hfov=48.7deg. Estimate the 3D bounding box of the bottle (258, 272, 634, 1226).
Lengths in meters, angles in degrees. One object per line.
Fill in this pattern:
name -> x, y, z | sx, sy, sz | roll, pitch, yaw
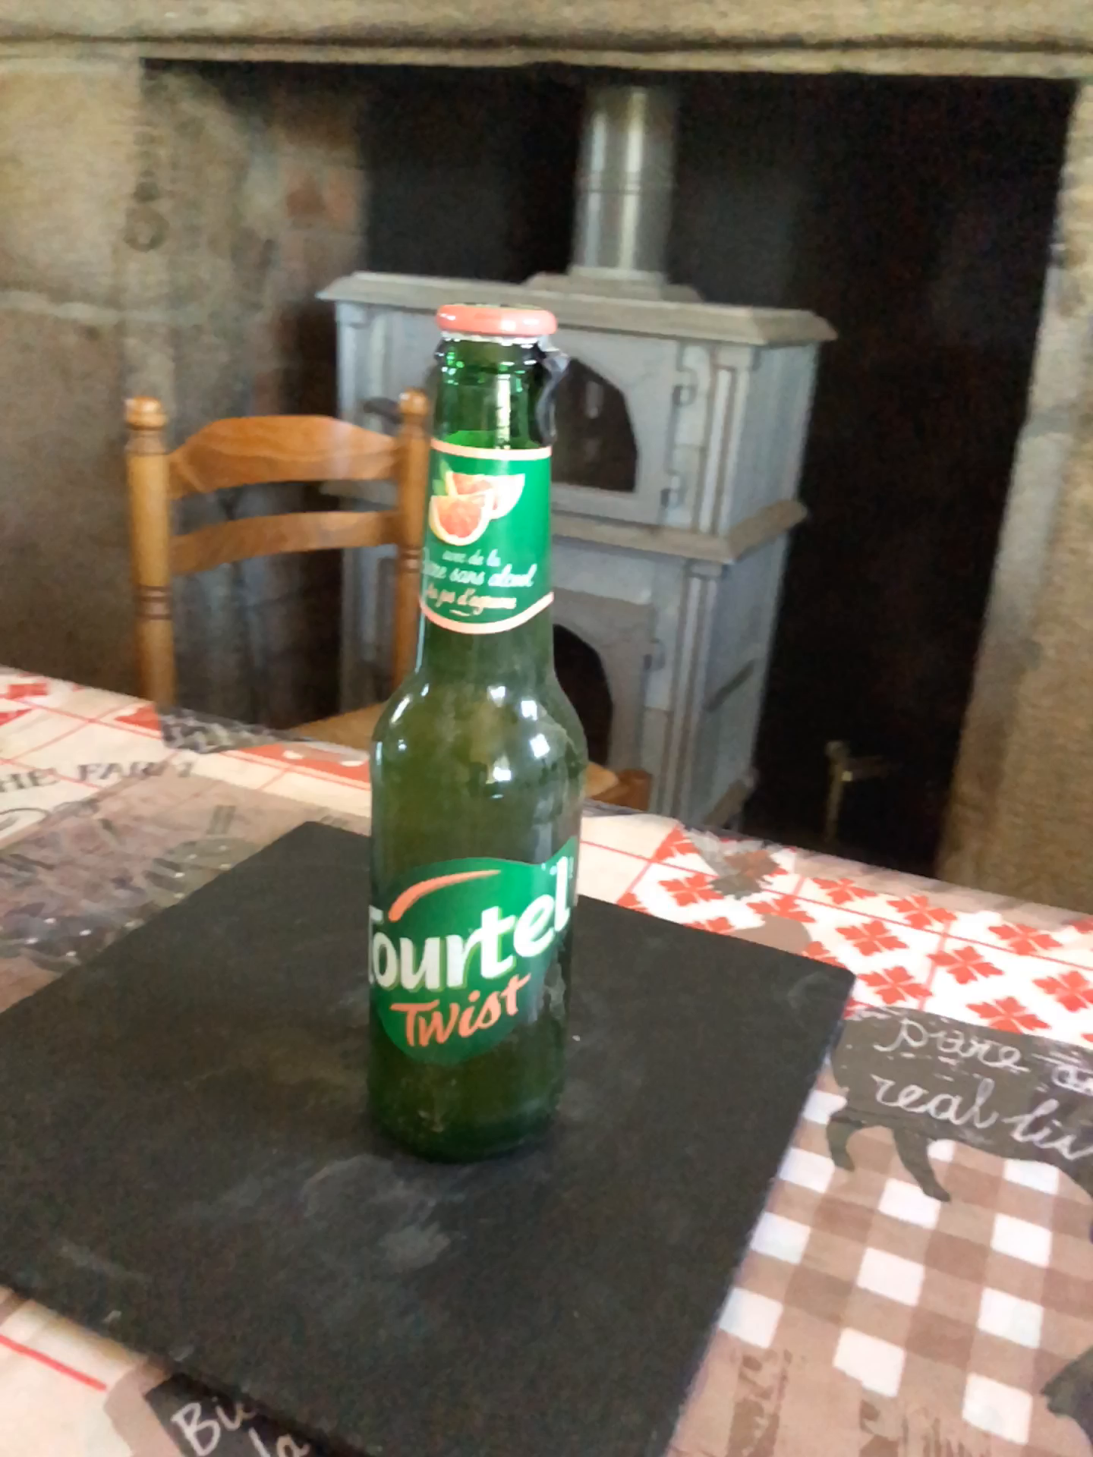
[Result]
bottle -> -0.027, 0.008, 0.311 | 0.070, 0.229, 0.060 | 8, 20, 10
